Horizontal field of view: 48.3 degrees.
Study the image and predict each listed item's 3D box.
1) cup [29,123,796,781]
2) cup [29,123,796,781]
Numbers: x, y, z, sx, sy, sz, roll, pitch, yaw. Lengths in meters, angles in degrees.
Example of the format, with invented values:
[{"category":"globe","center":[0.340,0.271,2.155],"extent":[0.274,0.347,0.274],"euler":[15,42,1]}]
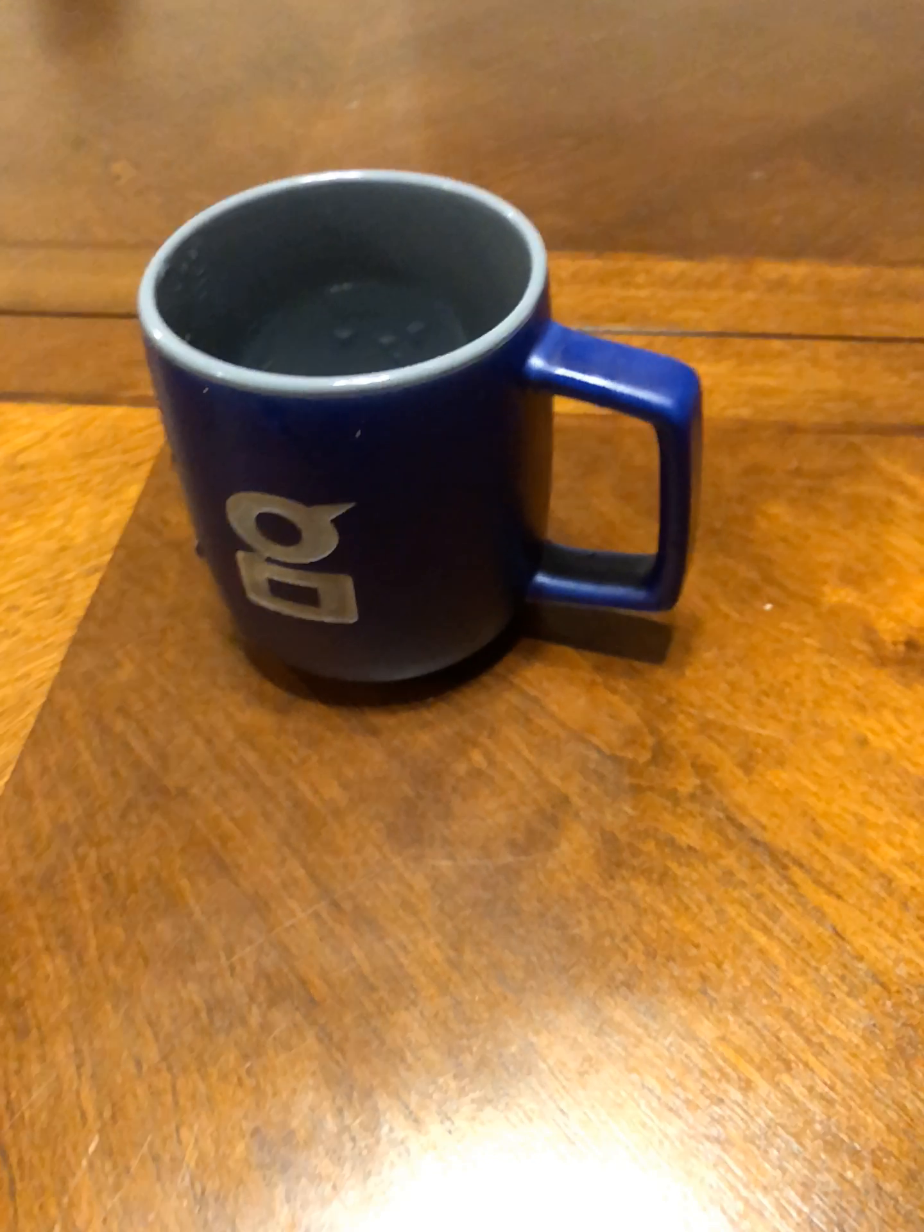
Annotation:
[{"category":"cup","center":[-0.004,-0.045,0.260],"extent":[0.140,0.099,0.101],"euler":[13,50,13]},{"category":"cup","center":[-0.004,-0.045,0.260],"extent":[0.140,0.099,0.101],"euler":[13,50,13]}]
